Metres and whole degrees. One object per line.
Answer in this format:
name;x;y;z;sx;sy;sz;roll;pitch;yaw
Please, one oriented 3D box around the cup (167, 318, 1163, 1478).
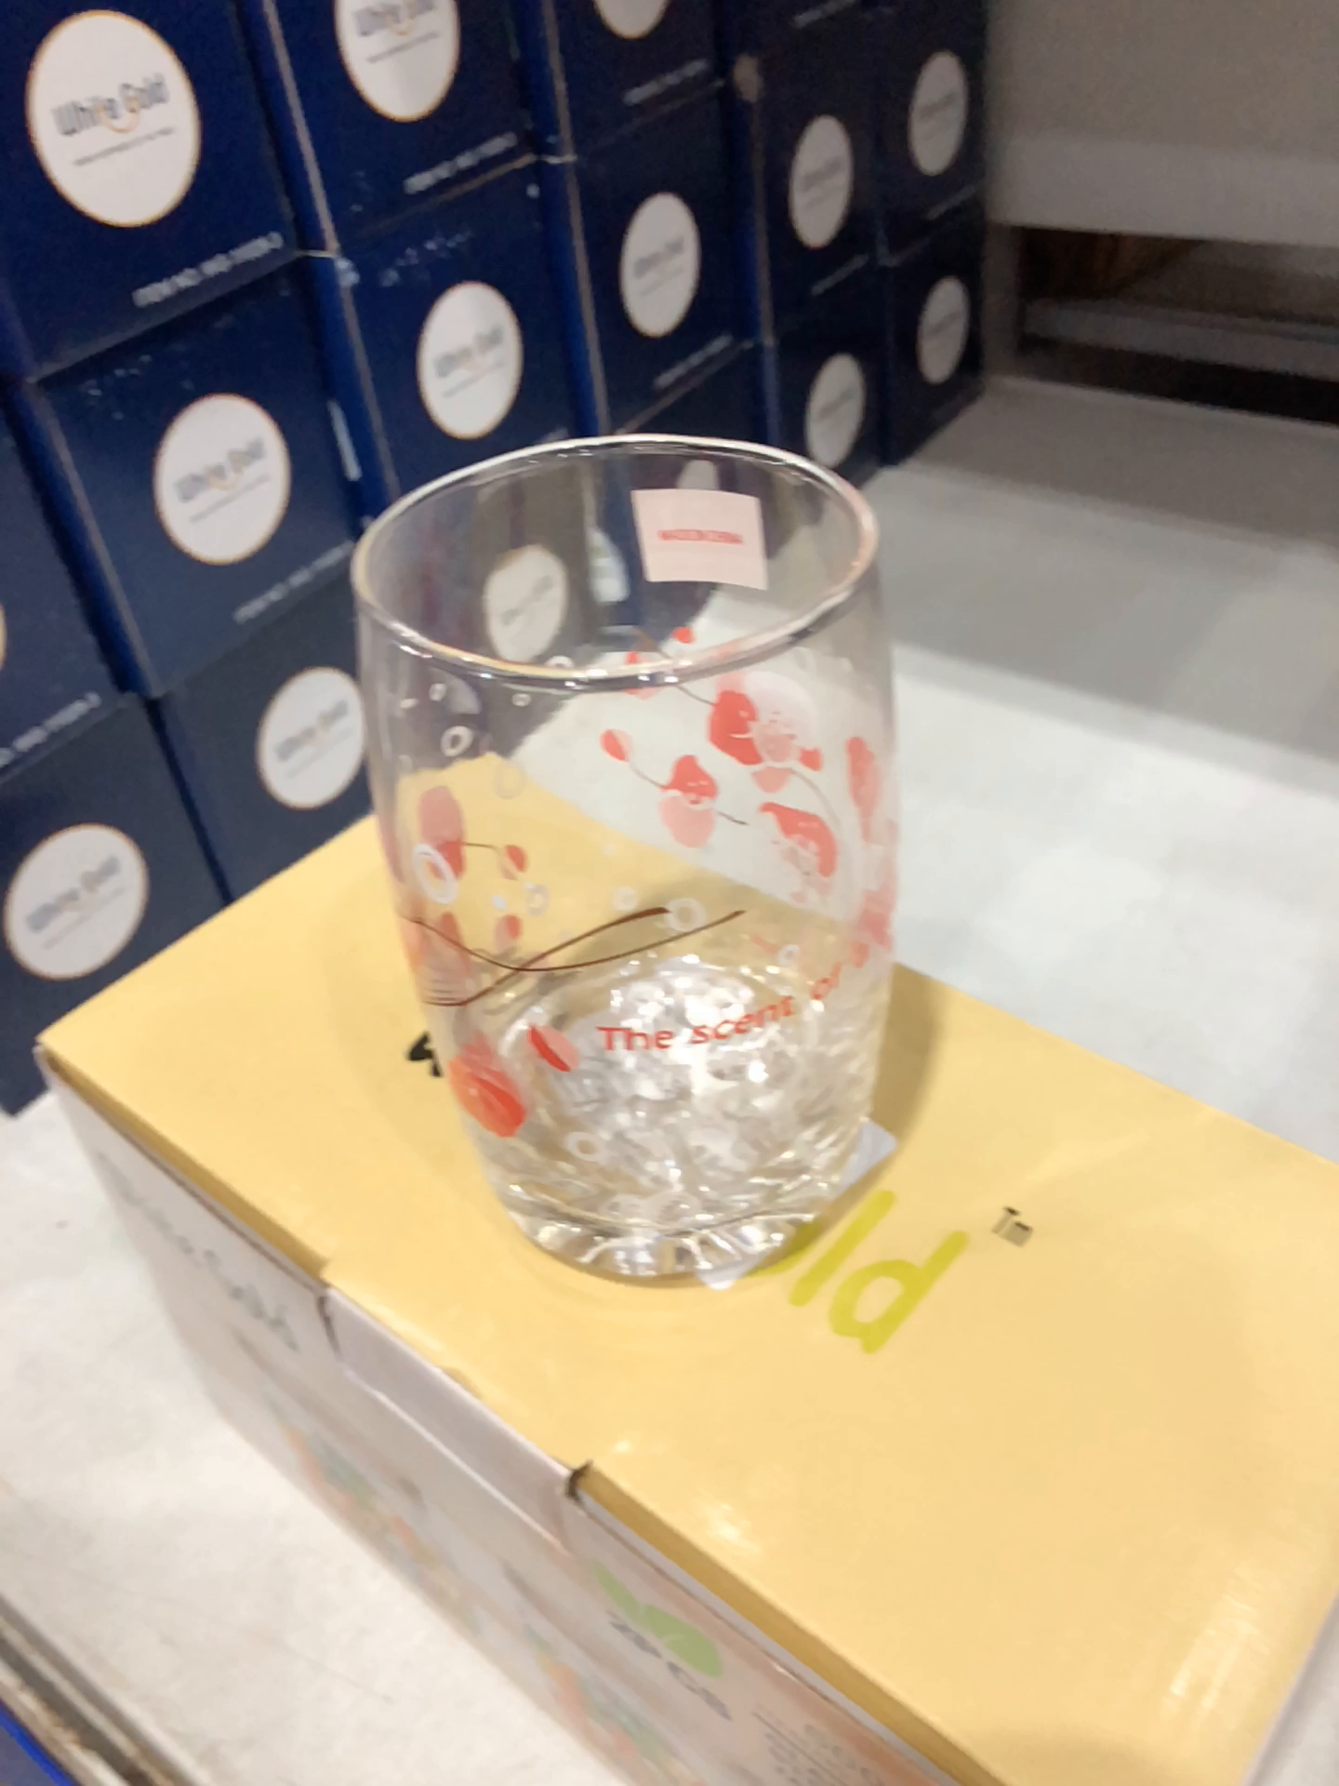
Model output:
cup;0.003;-0.002;0.204;0.080;0.109;0.080;-5;40;4
